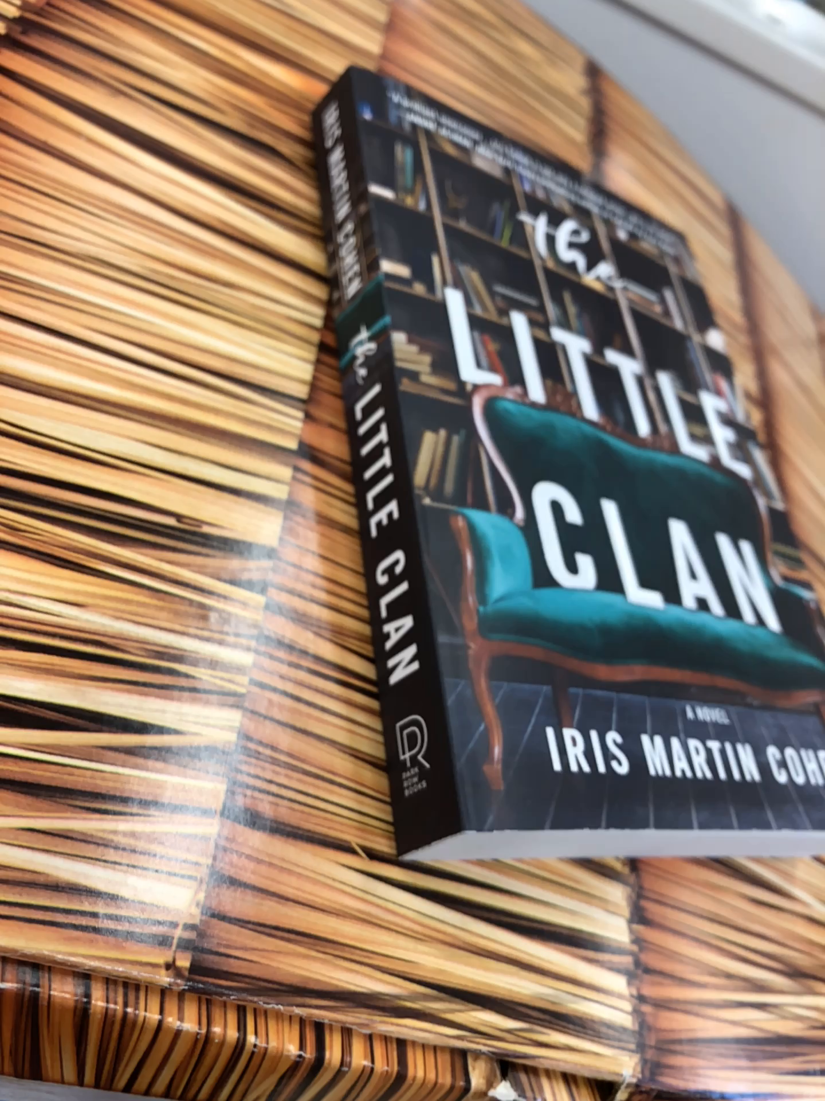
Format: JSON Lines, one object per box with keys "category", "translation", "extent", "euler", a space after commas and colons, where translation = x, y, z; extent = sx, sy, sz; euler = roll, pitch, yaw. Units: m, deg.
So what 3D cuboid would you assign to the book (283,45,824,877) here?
{"category": "book", "translation": [0.040, -0.024, 0.226], "extent": [0.130, 0.030, 0.190], "euler": [12, 54, -31]}
